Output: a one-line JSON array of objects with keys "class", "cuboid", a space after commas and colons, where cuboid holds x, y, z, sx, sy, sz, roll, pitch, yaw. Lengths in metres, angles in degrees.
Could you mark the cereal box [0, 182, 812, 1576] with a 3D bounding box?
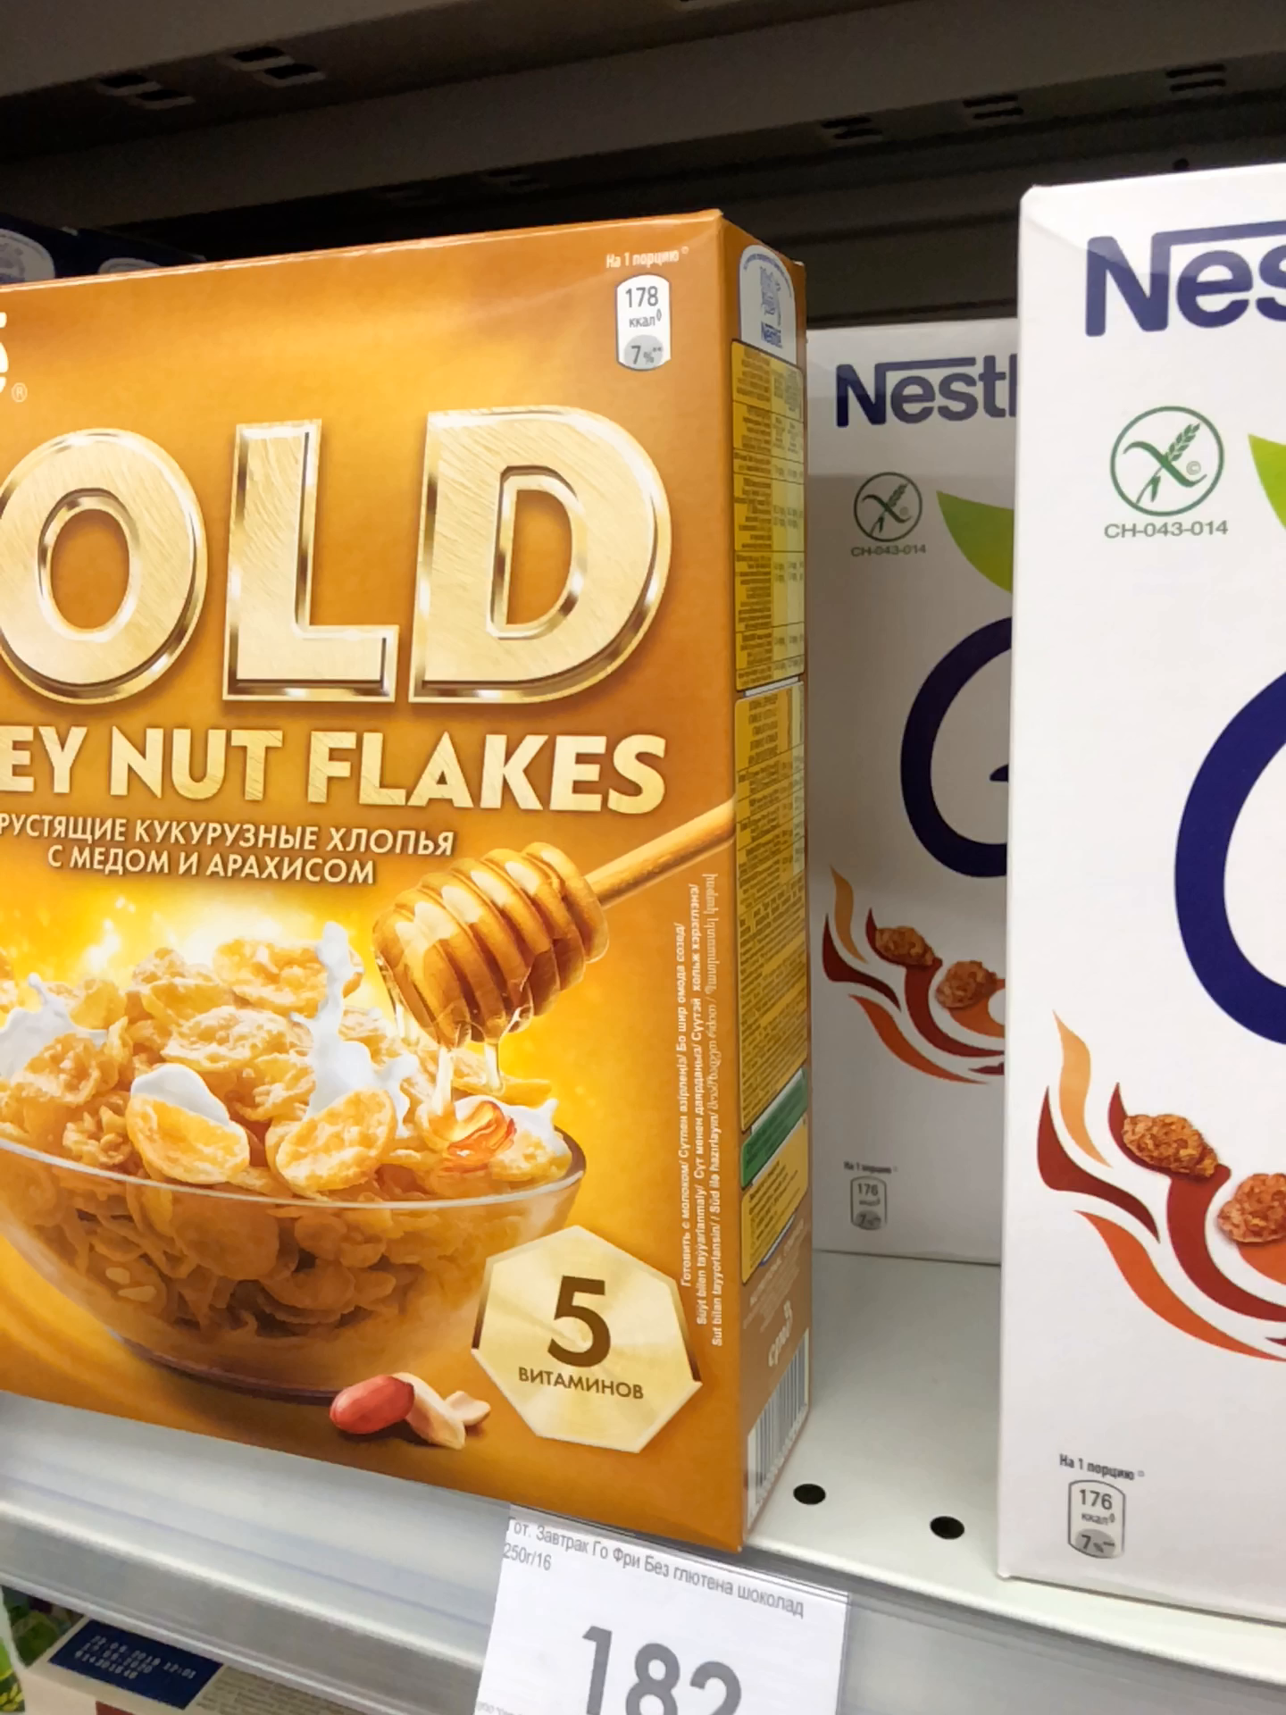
[{"class": "cereal box", "cuboid": [-0.066, 0.003, 0.277, 0.190, 0.219, 0.050, 3, 10, 21]}]
